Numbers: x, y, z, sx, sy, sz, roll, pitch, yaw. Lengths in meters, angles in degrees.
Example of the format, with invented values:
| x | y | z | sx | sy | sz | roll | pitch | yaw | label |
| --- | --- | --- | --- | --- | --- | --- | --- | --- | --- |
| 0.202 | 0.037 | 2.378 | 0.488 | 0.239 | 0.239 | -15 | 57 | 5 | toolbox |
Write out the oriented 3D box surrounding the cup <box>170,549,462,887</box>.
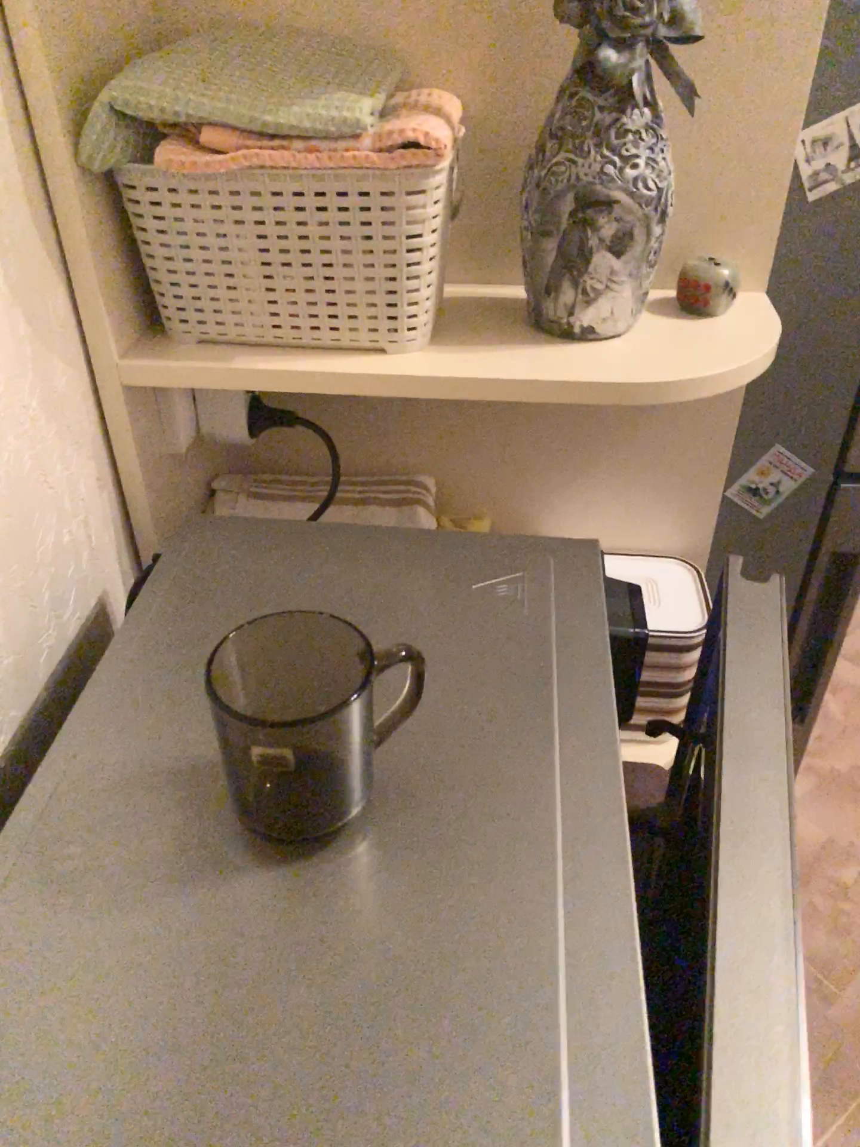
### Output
| x | y | z | sx | sy | sz | roll | pitch | yaw | label |
| --- | --- | --- | --- | --- | --- | --- | --- | --- | --- |
| -0.049 | 0.064 | 0.413 | 0.102 | 0.094 | 0.078 | -30 | 46 | -34 | cup |
